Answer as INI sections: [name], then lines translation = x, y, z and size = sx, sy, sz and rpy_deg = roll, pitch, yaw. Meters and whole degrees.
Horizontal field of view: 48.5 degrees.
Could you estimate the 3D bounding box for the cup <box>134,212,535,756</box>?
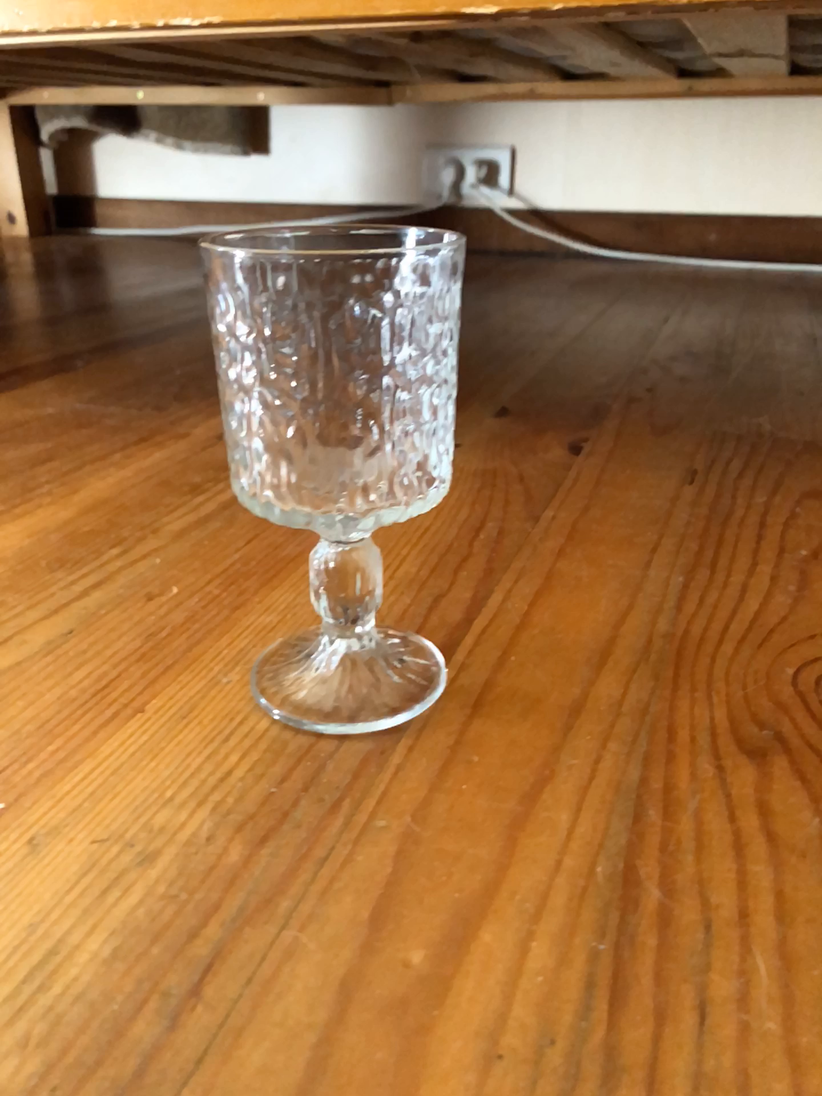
[cup]
translation = -0.016, -0.026, 0.272
size = 0.081, 0.134, 0.081
rpy_deg = 0, 23, 0
